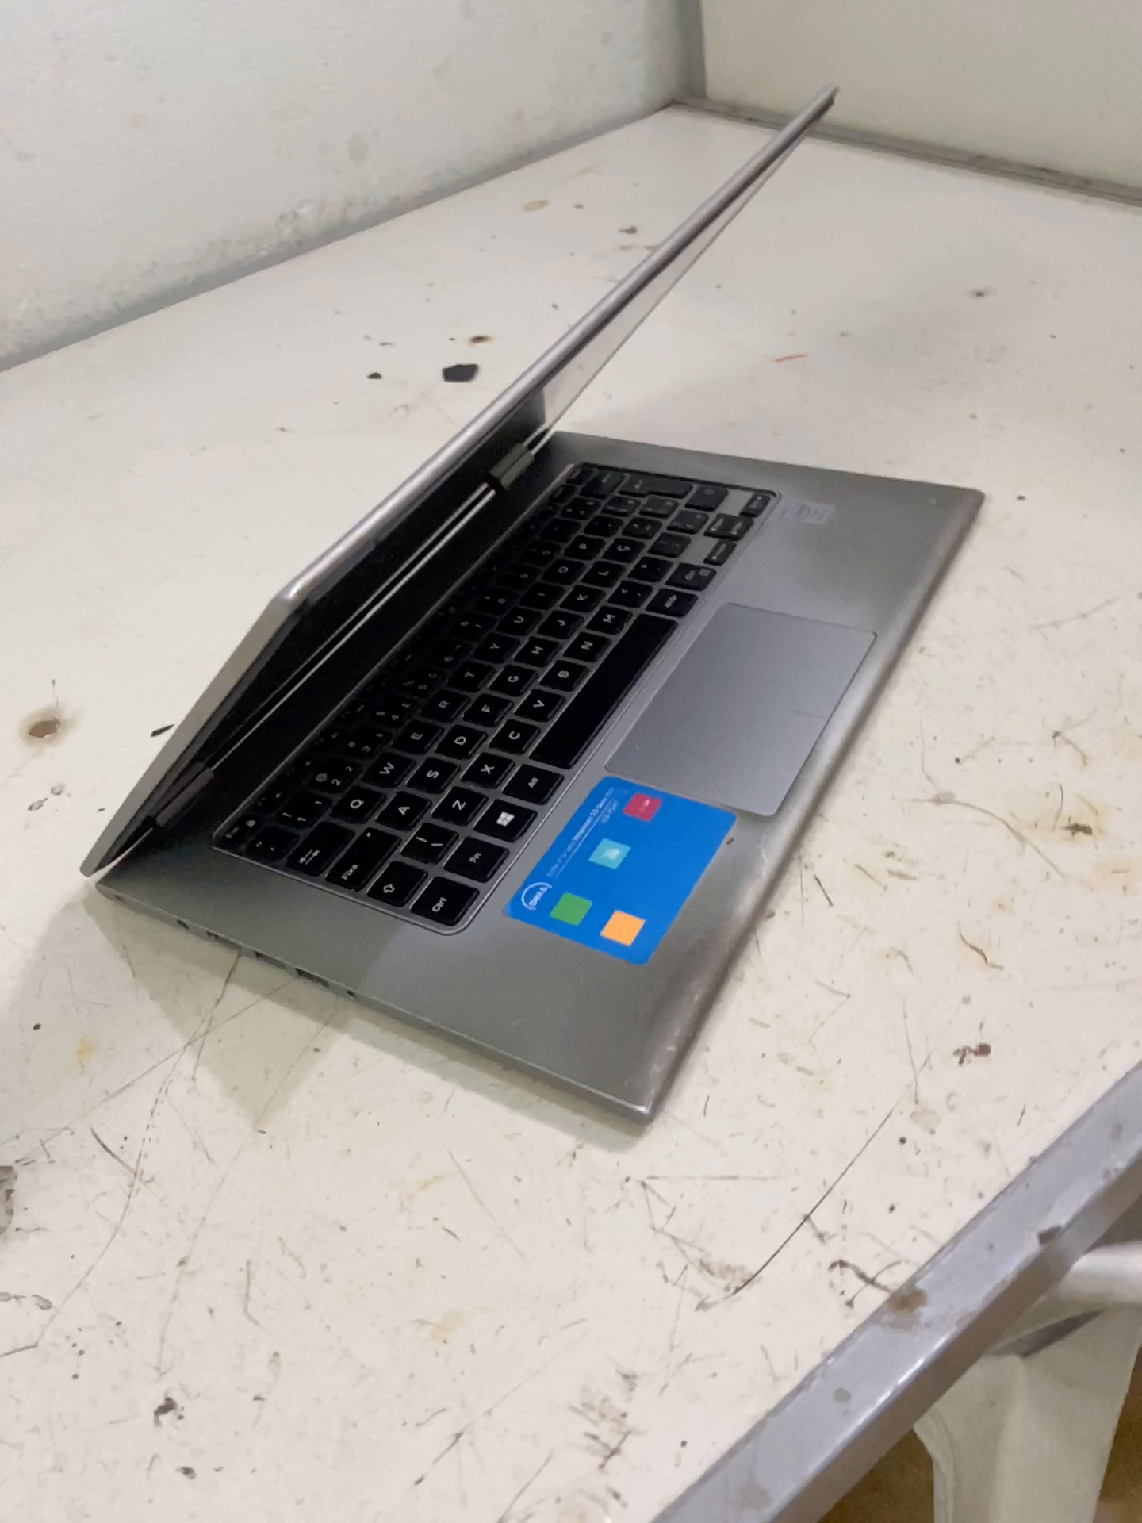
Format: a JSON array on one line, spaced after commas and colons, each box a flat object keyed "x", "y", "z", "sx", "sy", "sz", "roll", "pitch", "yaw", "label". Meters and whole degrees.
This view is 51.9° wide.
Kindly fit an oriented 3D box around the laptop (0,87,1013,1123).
[{"x": -0.009, "y": -0.094, "z": 0.408, "sx": 0.218, "sy": 0.155, "sz": 0.328, "roll": 15, "pitch": 49, "yaw": 26, "label": "laptop"}]
